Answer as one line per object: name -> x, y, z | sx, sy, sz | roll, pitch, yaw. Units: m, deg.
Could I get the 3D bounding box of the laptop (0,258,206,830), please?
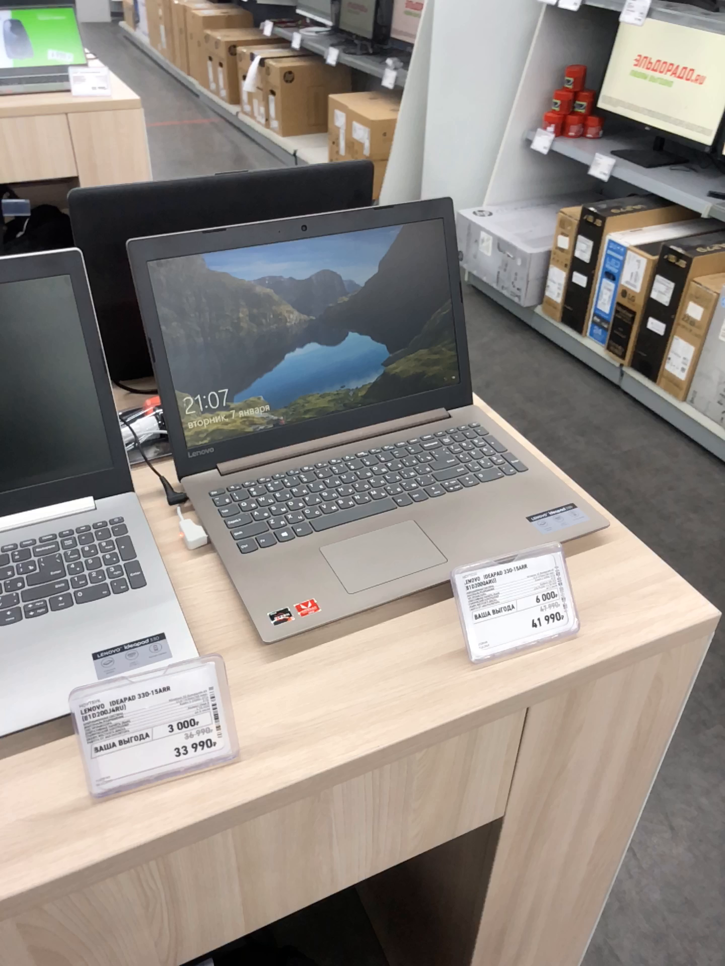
laptop -> -0.350, 0.005, 0.604 | 0.343, 0.207, 0.324 | -15, 40, -23

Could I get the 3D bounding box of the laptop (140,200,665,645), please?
laptop -> 0.014, -0.091, 0.760 | 0.351, 0.209, 0.330 | -15, 40, -21
